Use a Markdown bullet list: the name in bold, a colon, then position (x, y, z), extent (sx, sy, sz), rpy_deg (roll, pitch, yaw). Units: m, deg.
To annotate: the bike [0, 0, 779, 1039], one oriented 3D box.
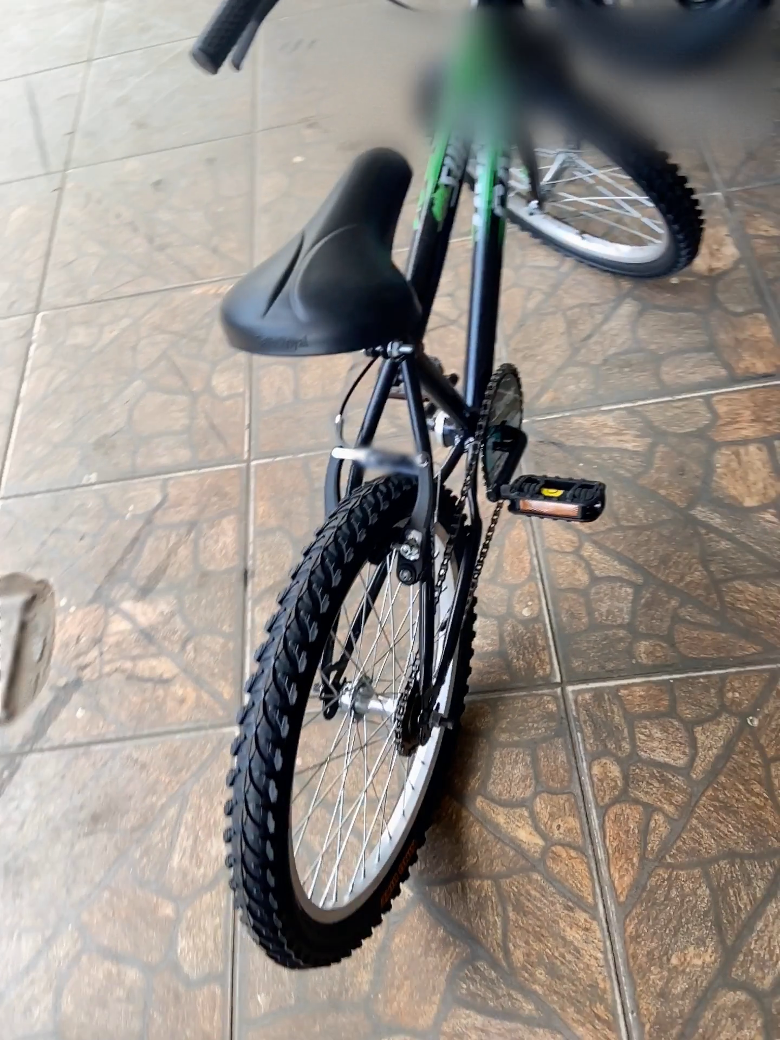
- **bike**: position (-0.056, -0.225, 0.895), extent (0.599, 0.936, 1.274), rpy_deg (5, 59, 11)
